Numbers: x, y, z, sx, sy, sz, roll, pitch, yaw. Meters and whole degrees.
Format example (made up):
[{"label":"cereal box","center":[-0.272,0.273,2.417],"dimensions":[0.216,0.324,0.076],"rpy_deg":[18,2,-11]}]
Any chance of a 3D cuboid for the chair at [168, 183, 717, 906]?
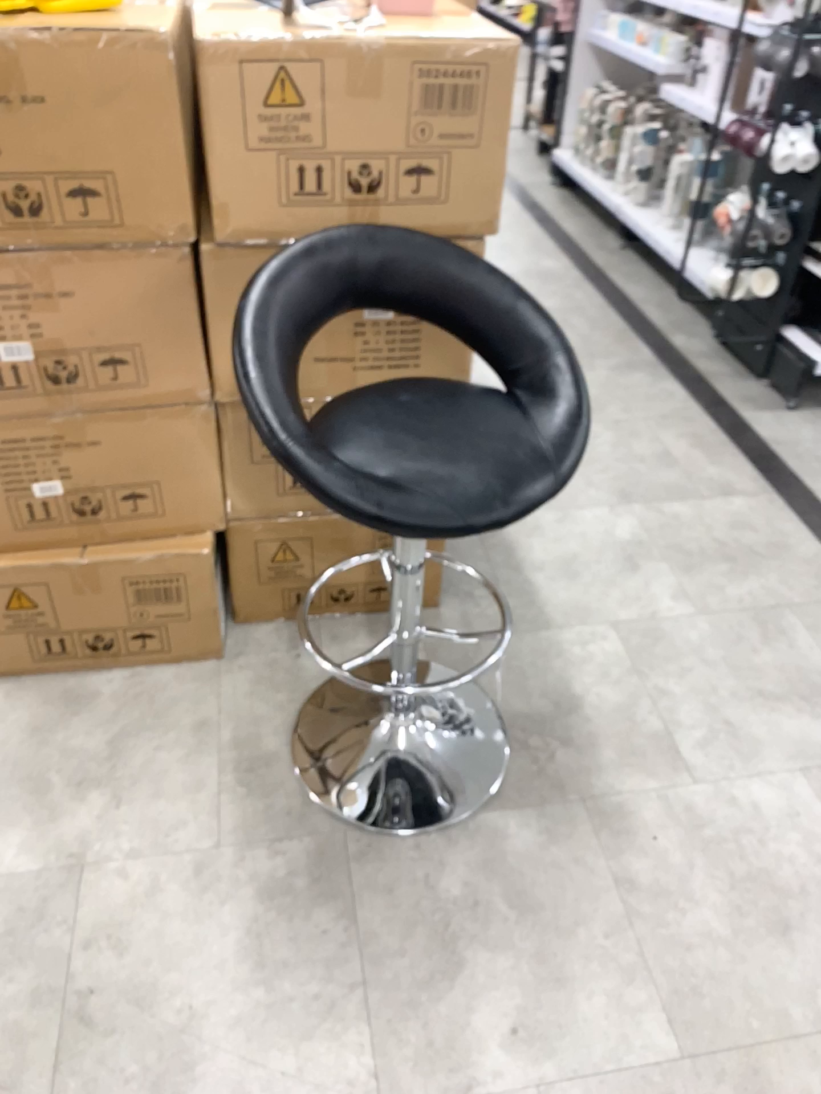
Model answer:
[{"label":"chair","center":[0.015,0.000,1.368],"dimensions":[0.511,0.933,0.485],"rpy_deg":[-25,46,-31]}]
